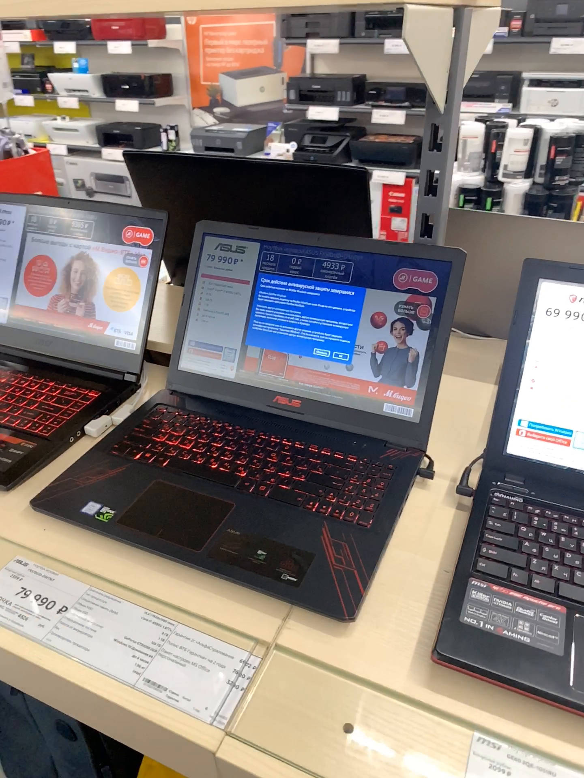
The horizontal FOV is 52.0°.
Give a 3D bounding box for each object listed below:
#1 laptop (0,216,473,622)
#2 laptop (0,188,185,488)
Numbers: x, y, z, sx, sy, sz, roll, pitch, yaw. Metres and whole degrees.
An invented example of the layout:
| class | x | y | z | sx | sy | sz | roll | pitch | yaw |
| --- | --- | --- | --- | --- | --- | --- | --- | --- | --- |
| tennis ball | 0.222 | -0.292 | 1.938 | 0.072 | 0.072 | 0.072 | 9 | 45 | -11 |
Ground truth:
| class | x | y | z | sx | sy | sz | roll | pitch | yaw |
| --- | --- | --- | --- | --- | --- | --- | --- | --- | --- |
| laptop | -0.036 | -0.023 | 0.662 | 0.365 | 0.199 | 0.384 | 12 | 35 | 22 |
| laptop | -0.398 | -0.103 | 0.797 | 0.338 | 0.209 | 0.354 | 13 | 35 | 21 |
